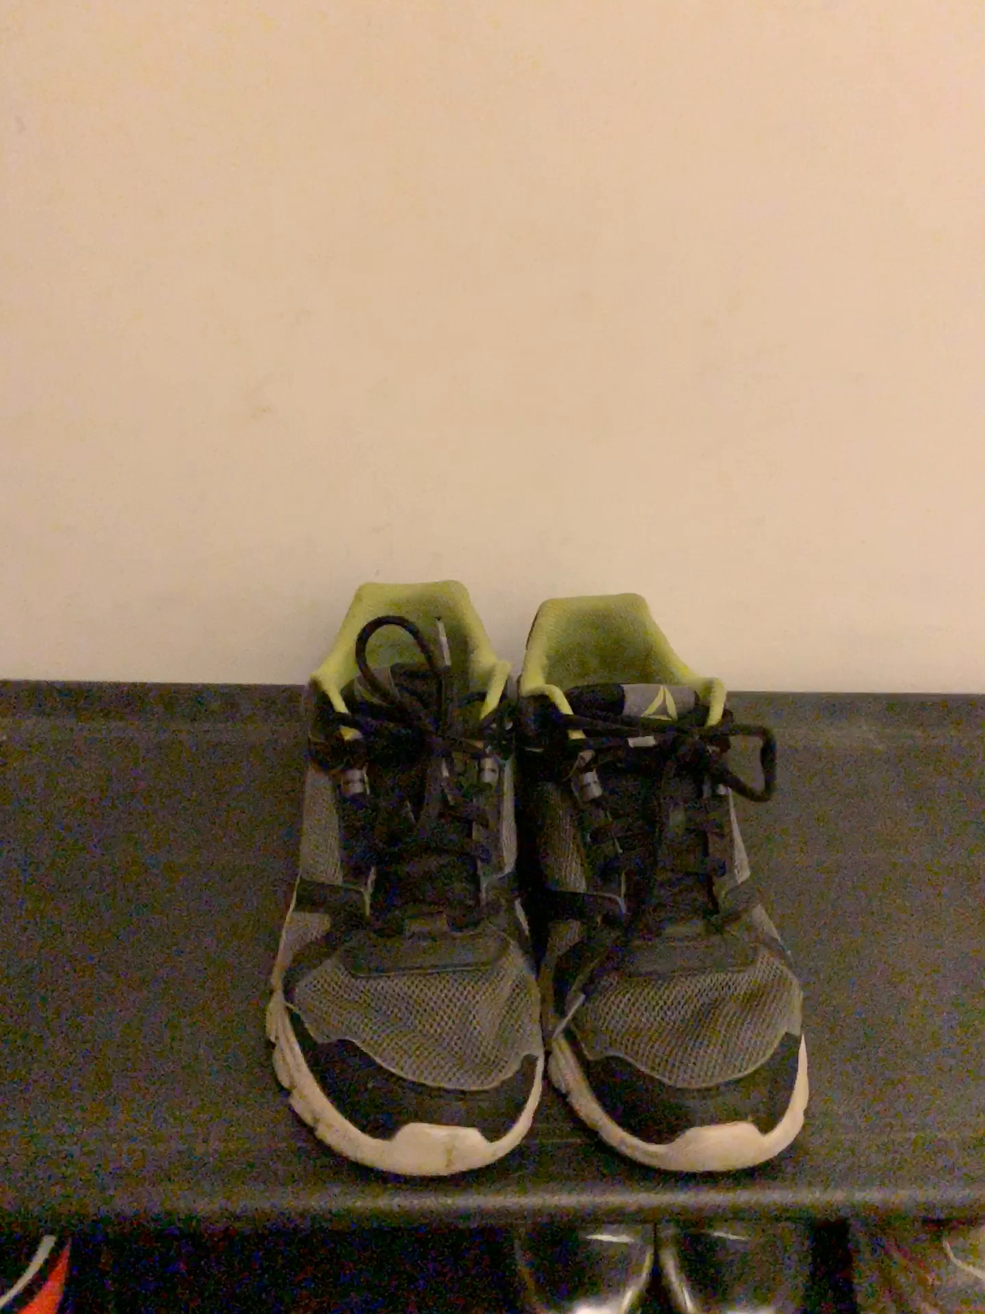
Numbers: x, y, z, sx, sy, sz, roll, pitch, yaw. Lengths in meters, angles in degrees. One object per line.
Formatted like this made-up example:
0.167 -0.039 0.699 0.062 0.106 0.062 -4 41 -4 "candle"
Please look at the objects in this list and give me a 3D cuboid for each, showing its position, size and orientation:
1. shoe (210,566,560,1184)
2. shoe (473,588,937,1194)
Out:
-0.042 0.066 0.422 0.100 0.099 0.252 1 33 -5 "shoe"
0.059 0.067 0.414 0.110 0.069 0.262 0 33 -7 "shoe"
